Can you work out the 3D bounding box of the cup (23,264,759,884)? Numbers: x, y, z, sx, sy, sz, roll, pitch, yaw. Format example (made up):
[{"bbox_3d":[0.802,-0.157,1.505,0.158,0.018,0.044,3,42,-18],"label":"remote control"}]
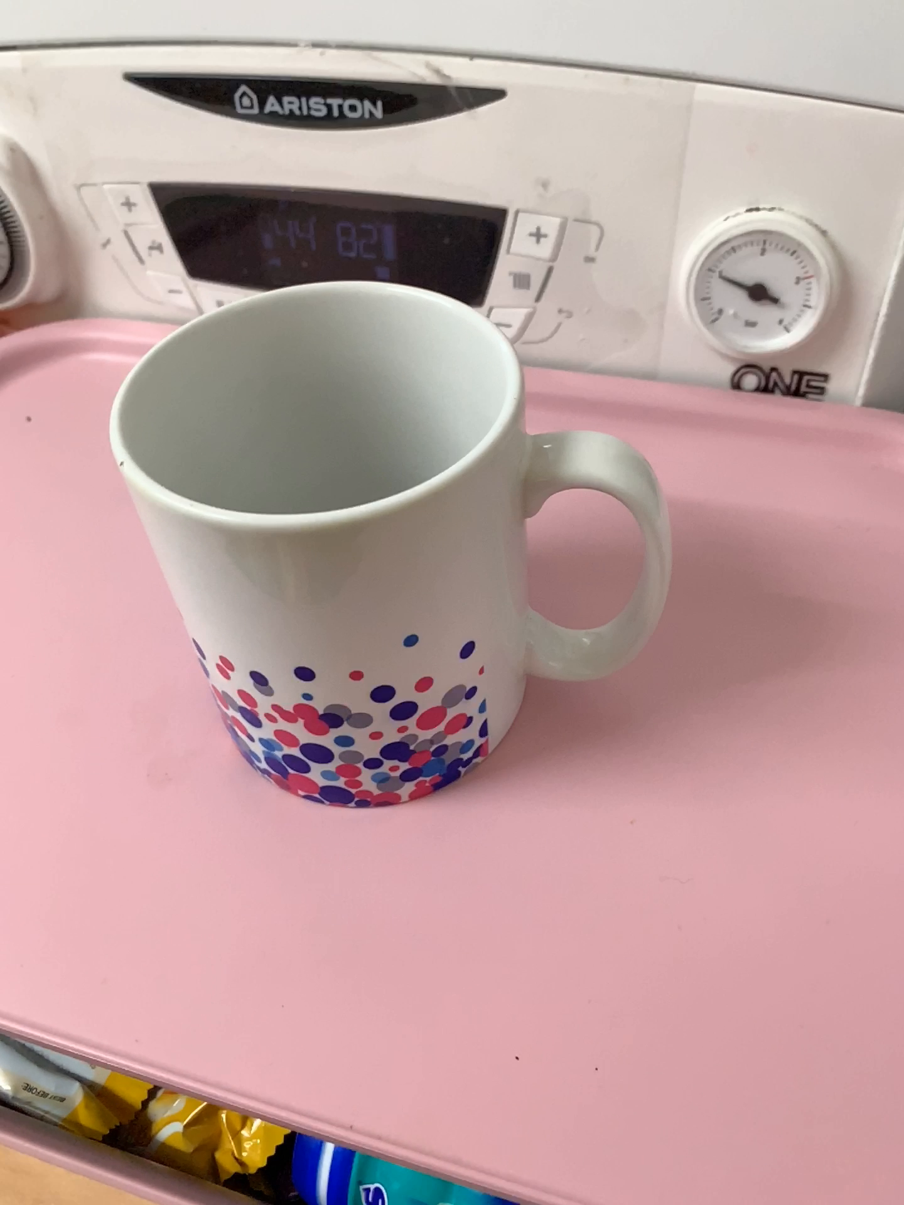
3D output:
[{"bbox_3d":[-0.003,-0.010,0.206,0.120,0.089,0.081,8,43,11],"label":"cup"}]
